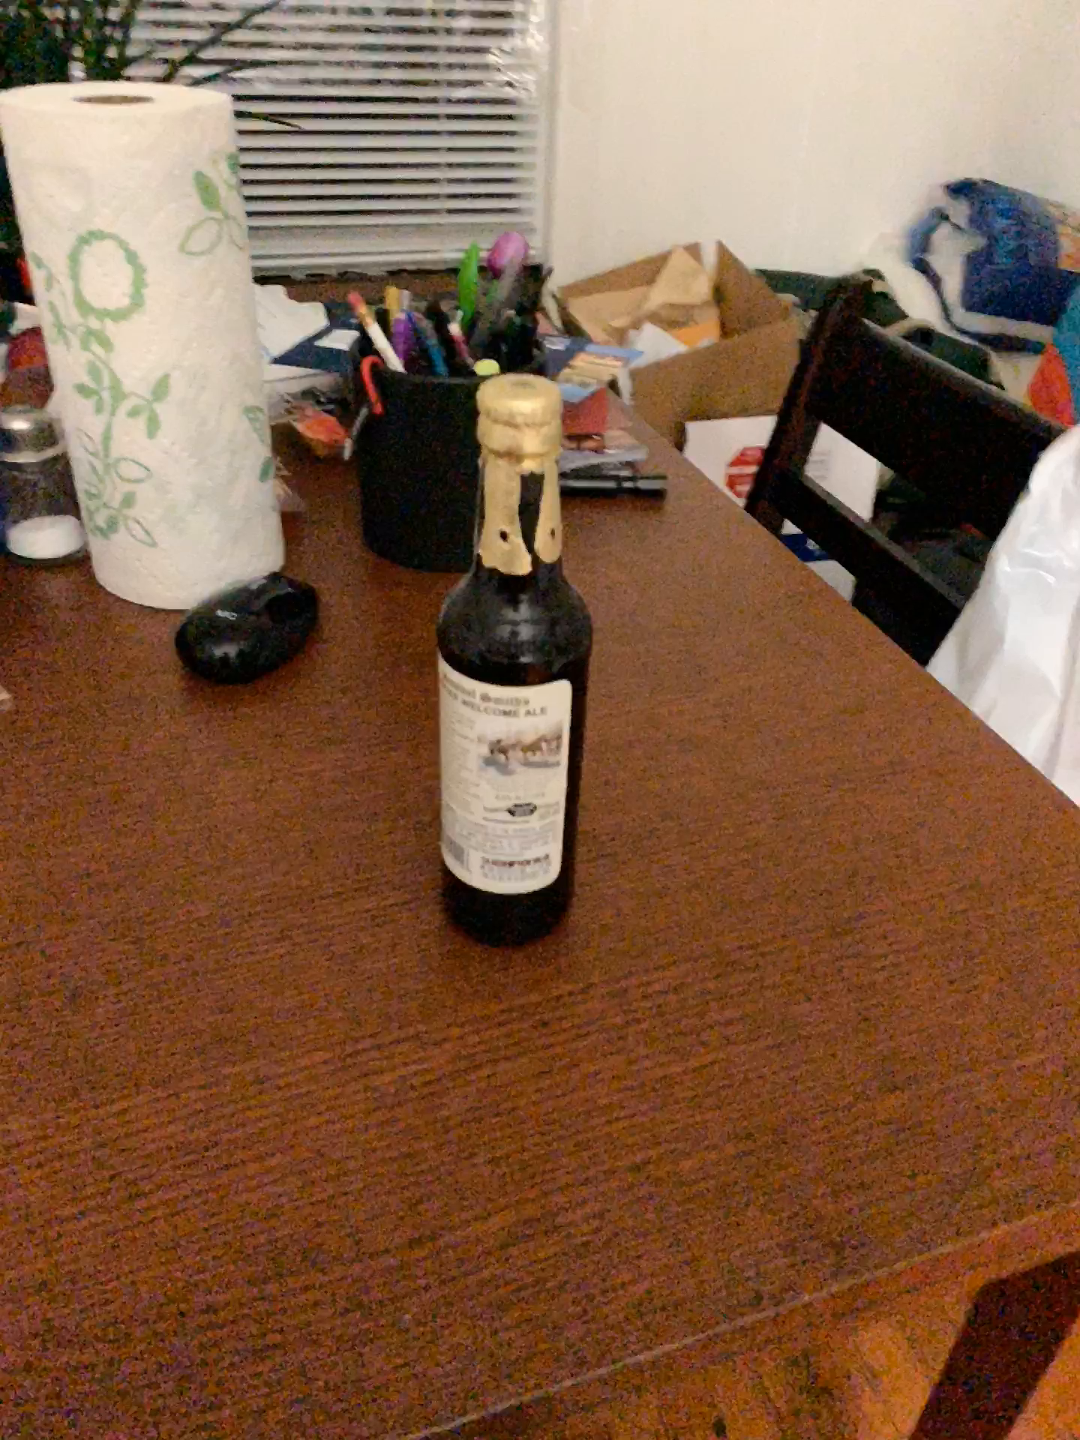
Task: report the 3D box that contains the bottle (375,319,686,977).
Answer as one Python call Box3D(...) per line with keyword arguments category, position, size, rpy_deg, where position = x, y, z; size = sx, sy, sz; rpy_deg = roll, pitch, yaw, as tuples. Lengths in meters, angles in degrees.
Box3D(category="bottle", position=(-0.007, -0.020, 0.416), size=(0.070, 0.229, 0.070), rpy_deg=(2, 35, -1))
